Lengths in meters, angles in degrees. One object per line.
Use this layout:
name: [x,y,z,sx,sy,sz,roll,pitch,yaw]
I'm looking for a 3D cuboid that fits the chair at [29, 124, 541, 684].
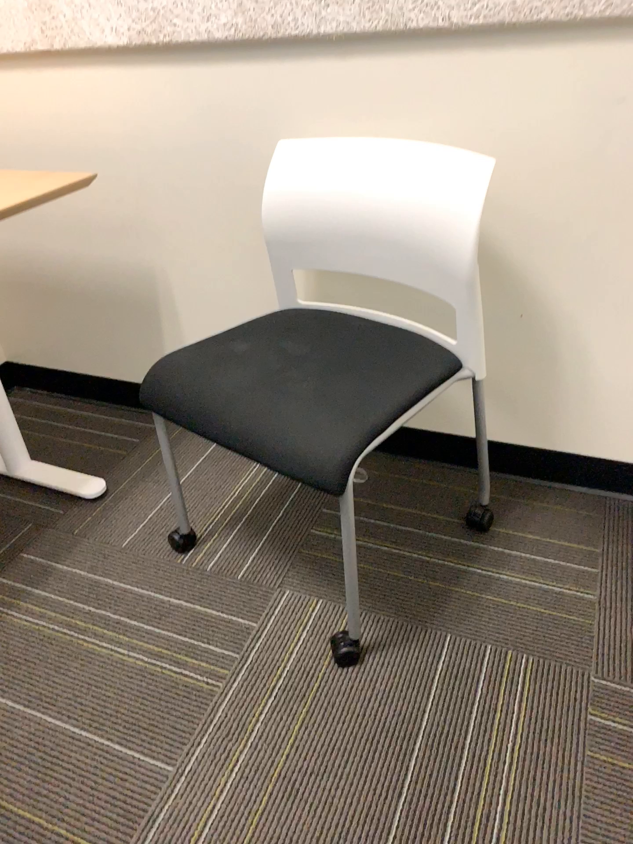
chair: [-0.019,-0.090,1.199,0.582,0.735,0.541,21,42,35]
